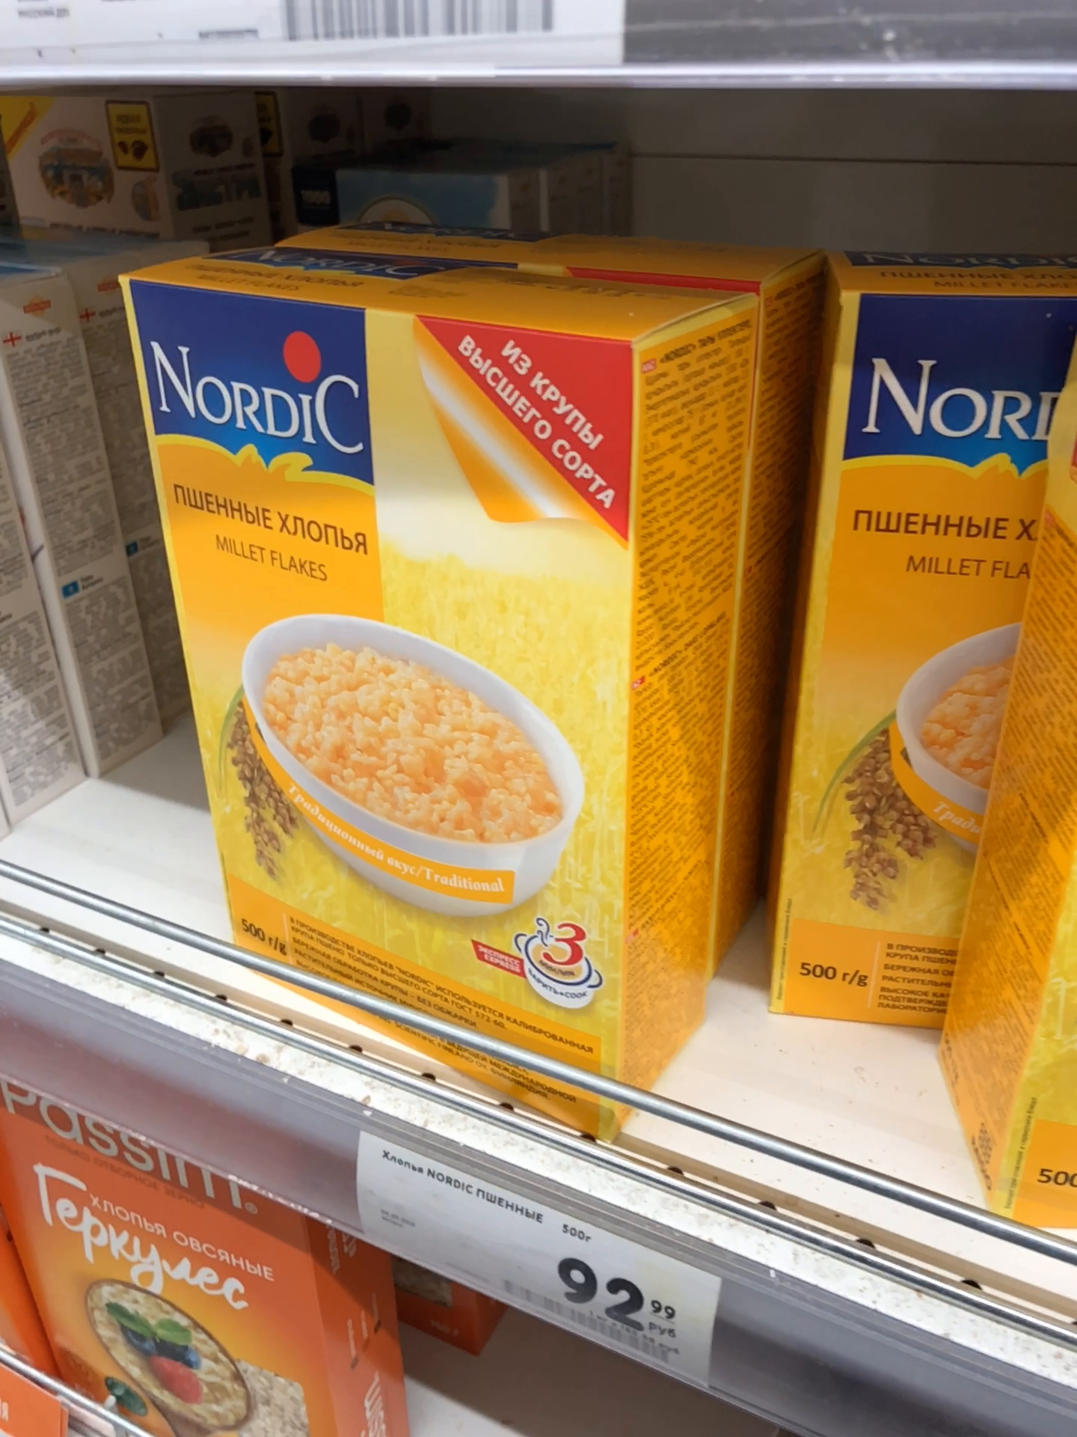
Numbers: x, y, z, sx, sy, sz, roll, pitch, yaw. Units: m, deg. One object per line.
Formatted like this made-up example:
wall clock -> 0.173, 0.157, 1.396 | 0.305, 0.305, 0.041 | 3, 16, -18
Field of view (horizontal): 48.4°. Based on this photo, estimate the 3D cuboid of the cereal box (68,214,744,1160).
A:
cereal box -> -0.031, -0.011, 0.310 | 0.140, 0.209, 0.060 | 17, 33, 30
